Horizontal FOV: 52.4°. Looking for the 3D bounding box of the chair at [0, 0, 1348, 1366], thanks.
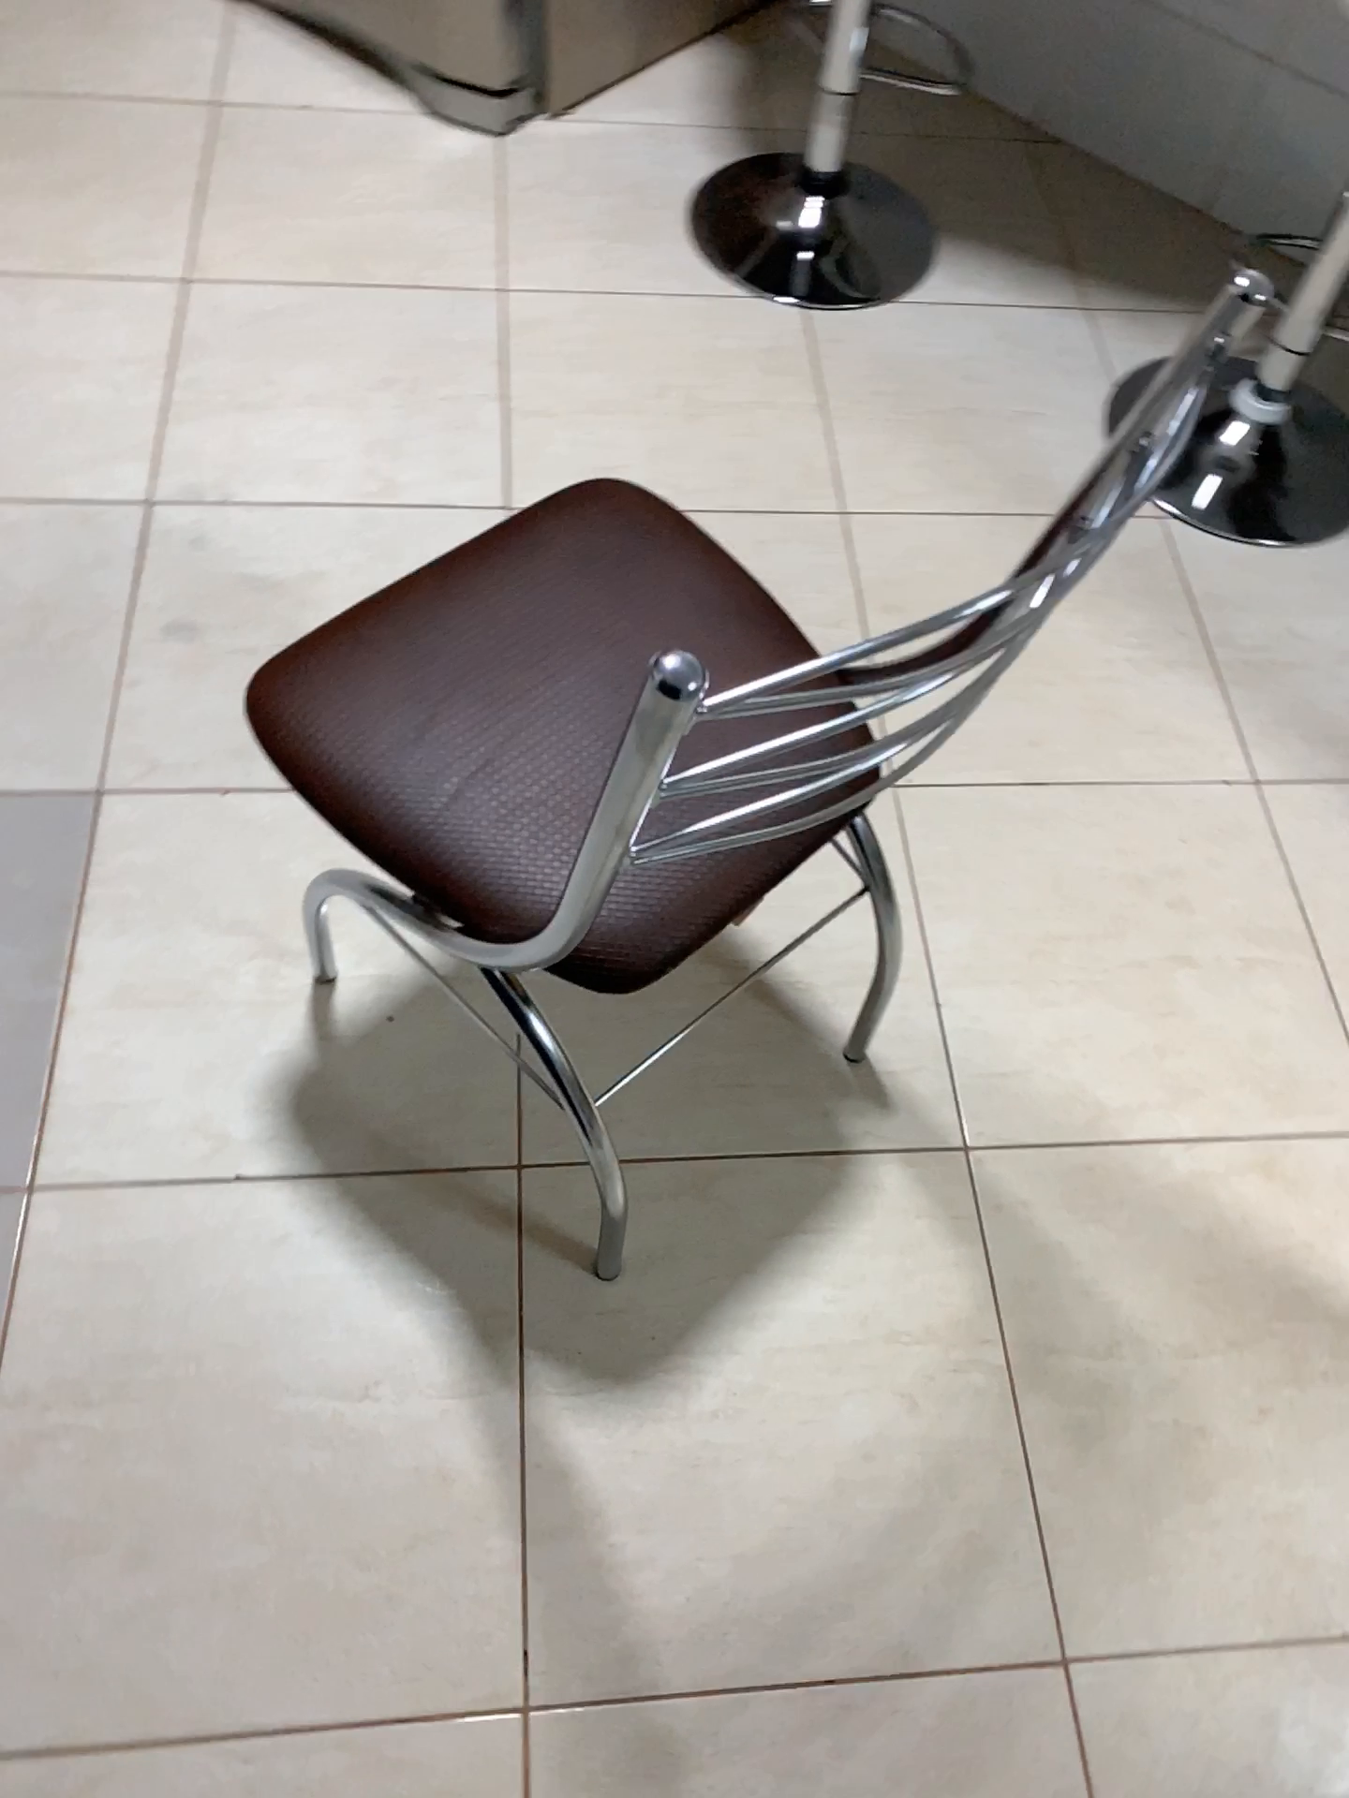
[{"bbox_3d":[-0.041,-0.093,0.990,0.420,0.873,0.484,-37,69,-24],"label":"chair"}]
